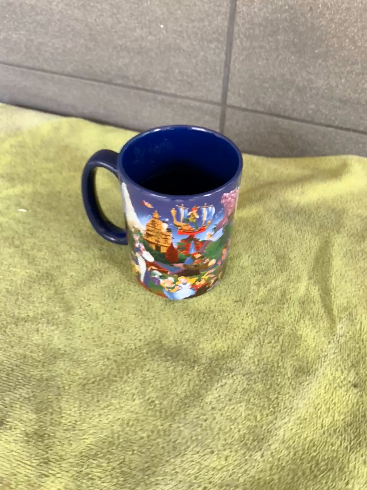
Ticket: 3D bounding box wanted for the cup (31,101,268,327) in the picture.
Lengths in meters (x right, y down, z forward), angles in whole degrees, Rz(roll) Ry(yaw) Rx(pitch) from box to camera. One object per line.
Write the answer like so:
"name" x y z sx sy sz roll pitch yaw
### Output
"cup" -0.020 -0.026 0.295 0.130 0.110 0.090 19 49 16
